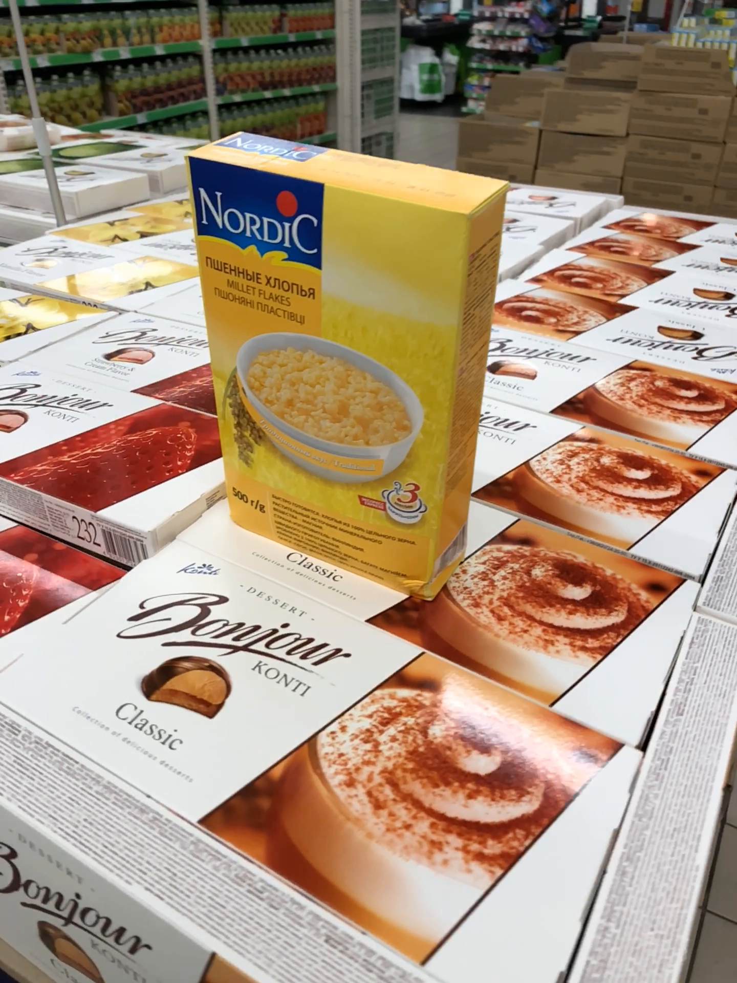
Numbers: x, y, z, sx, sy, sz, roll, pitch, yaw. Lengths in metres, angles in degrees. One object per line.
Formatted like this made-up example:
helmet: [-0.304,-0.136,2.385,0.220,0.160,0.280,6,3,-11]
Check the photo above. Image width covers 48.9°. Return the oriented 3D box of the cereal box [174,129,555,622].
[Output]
cereal box: [-0.005,-0.053,0.417,0.160,0.218,0.050,19,43,22]
